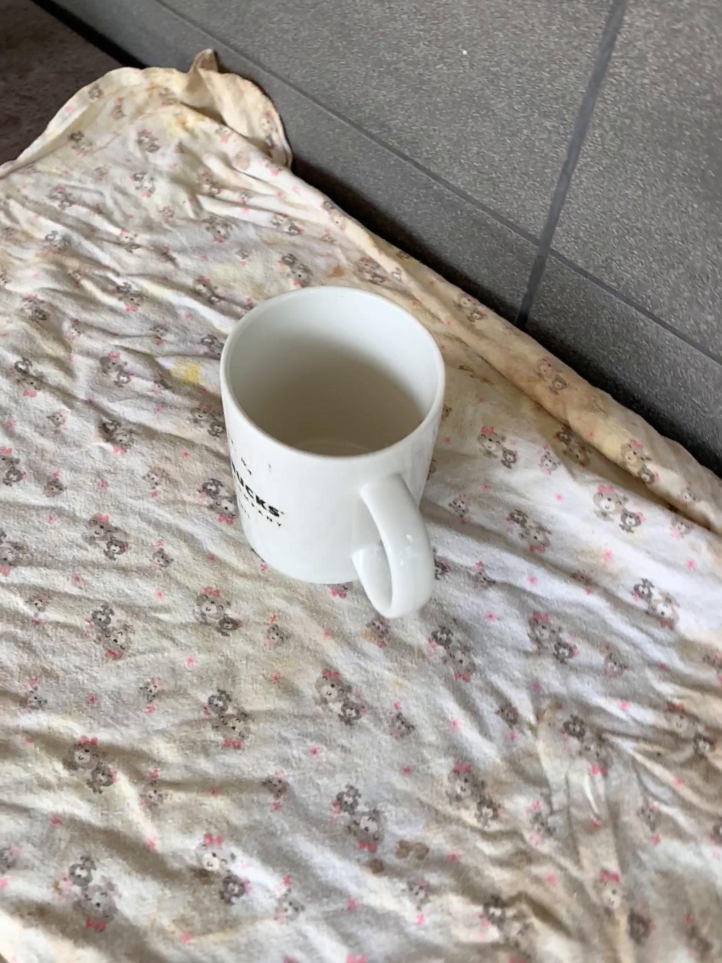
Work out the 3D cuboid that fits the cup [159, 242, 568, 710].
[{"bbox_3d":[-0.007,-0.002,0.304,0.090,0.110,0.130,-24,61,-18],"label":"cup"}]
